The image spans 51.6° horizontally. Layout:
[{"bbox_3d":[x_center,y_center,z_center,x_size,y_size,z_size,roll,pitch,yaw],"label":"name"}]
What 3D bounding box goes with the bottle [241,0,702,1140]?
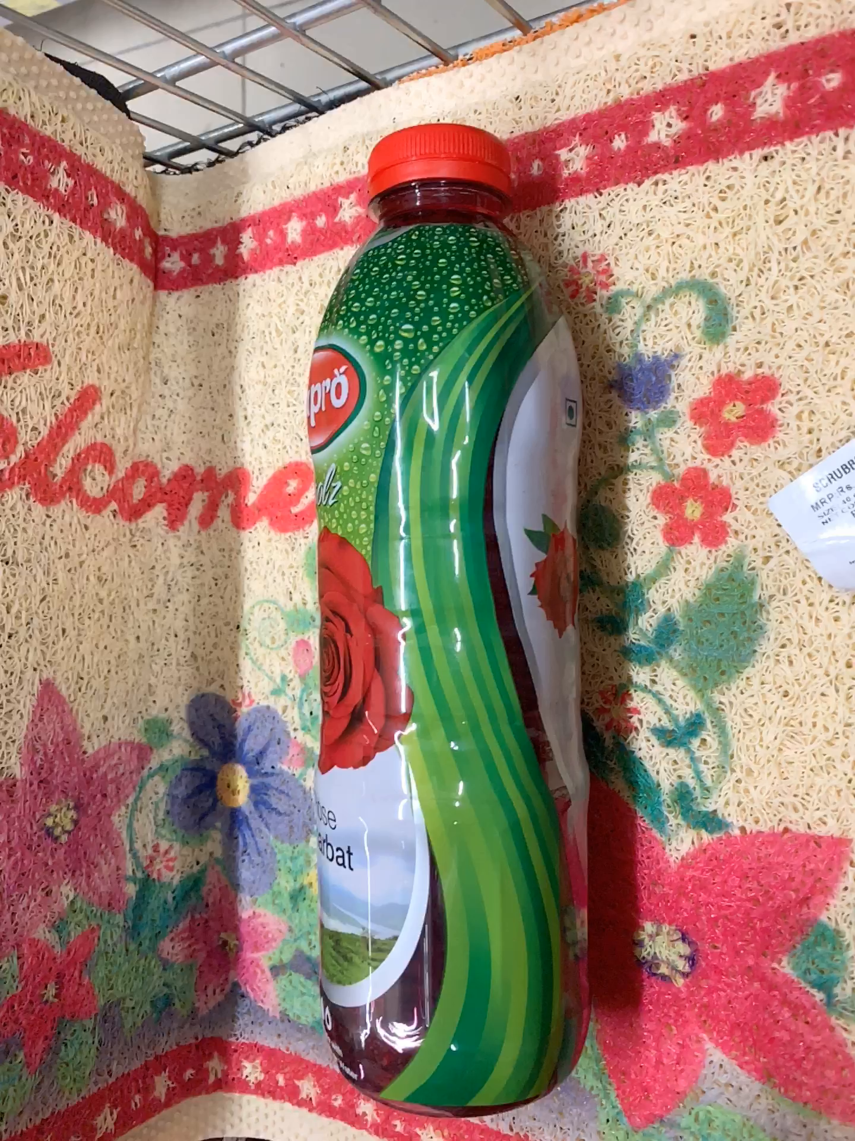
[{"bbox_3d":[0.009,0.001,0.229,0.080,0.080,0.250,4,97,61],"label":"bottle"}]
